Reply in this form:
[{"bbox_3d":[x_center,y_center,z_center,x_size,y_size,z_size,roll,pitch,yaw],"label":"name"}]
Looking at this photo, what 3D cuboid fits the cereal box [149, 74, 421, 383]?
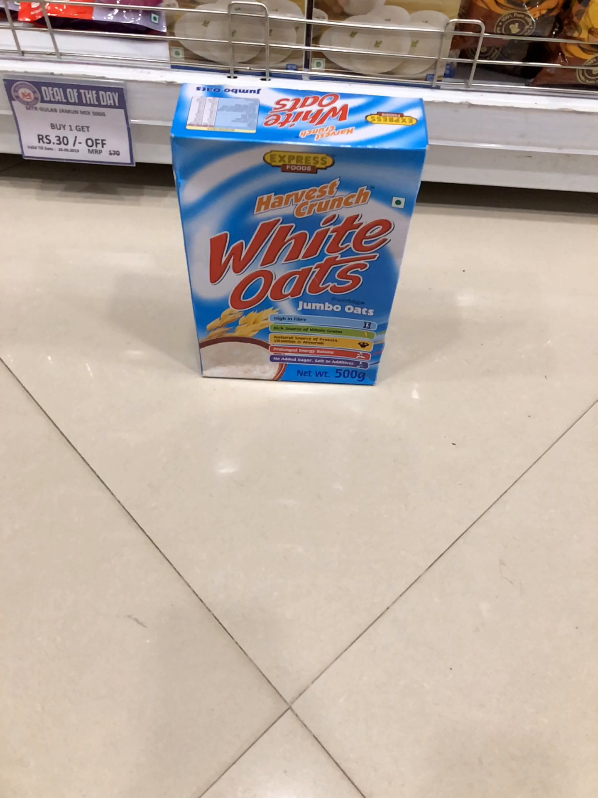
[{"bbox_3d":[-0.012,-0.104,0.471,0.150,0.219,0.060,3,55,-2],"label":"cereal box"}]
